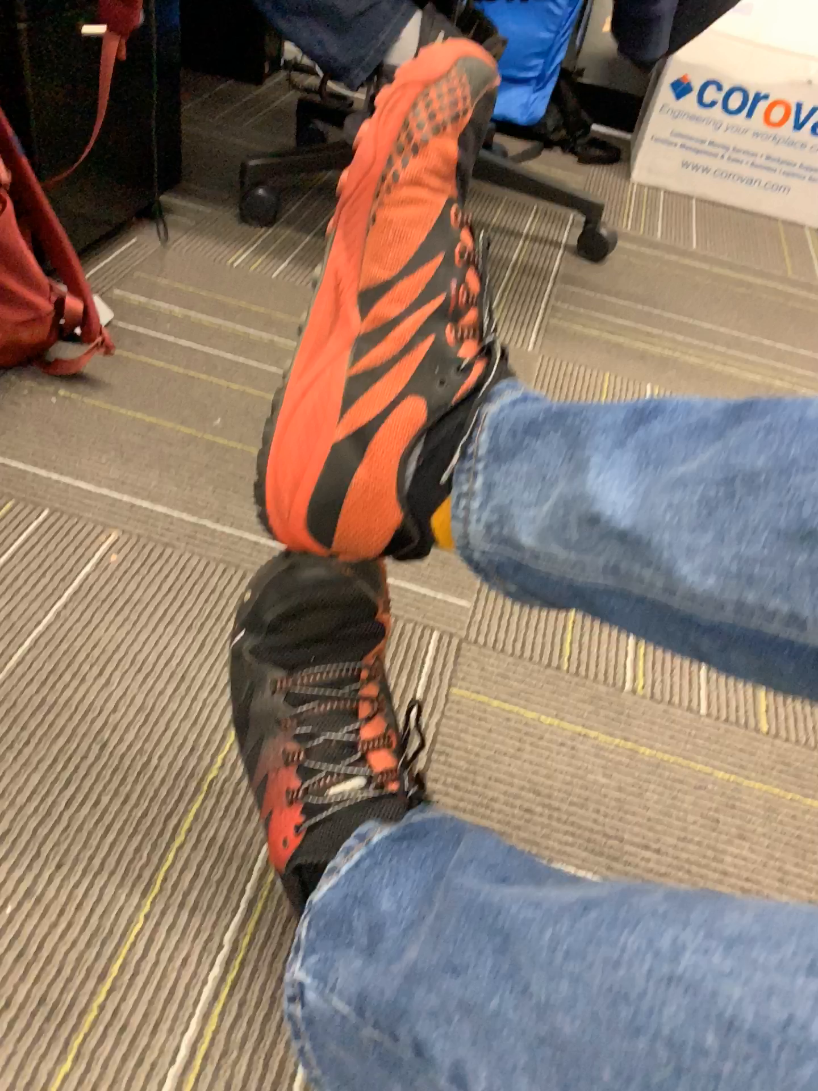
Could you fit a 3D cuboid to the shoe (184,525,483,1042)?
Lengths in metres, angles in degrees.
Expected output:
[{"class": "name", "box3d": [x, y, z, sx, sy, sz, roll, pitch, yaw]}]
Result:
[{"class": "shoe", "box3d": [-0.060, 0.145, 0.583, 0.129, 0.135, 0.289, -8, 87, -23]}]

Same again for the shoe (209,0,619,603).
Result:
[{"class": "shoe", "box3d": [-0.002, -0.140, 0.529, 0.142, 0.304, 0.118, 18, 9, -3]}]

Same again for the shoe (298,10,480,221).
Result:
[{"class": "shoe", "box3d": [-0.049, -0.870, 1.730, 0.164, 0.355, 0.156, 39, 56, -20]}]
